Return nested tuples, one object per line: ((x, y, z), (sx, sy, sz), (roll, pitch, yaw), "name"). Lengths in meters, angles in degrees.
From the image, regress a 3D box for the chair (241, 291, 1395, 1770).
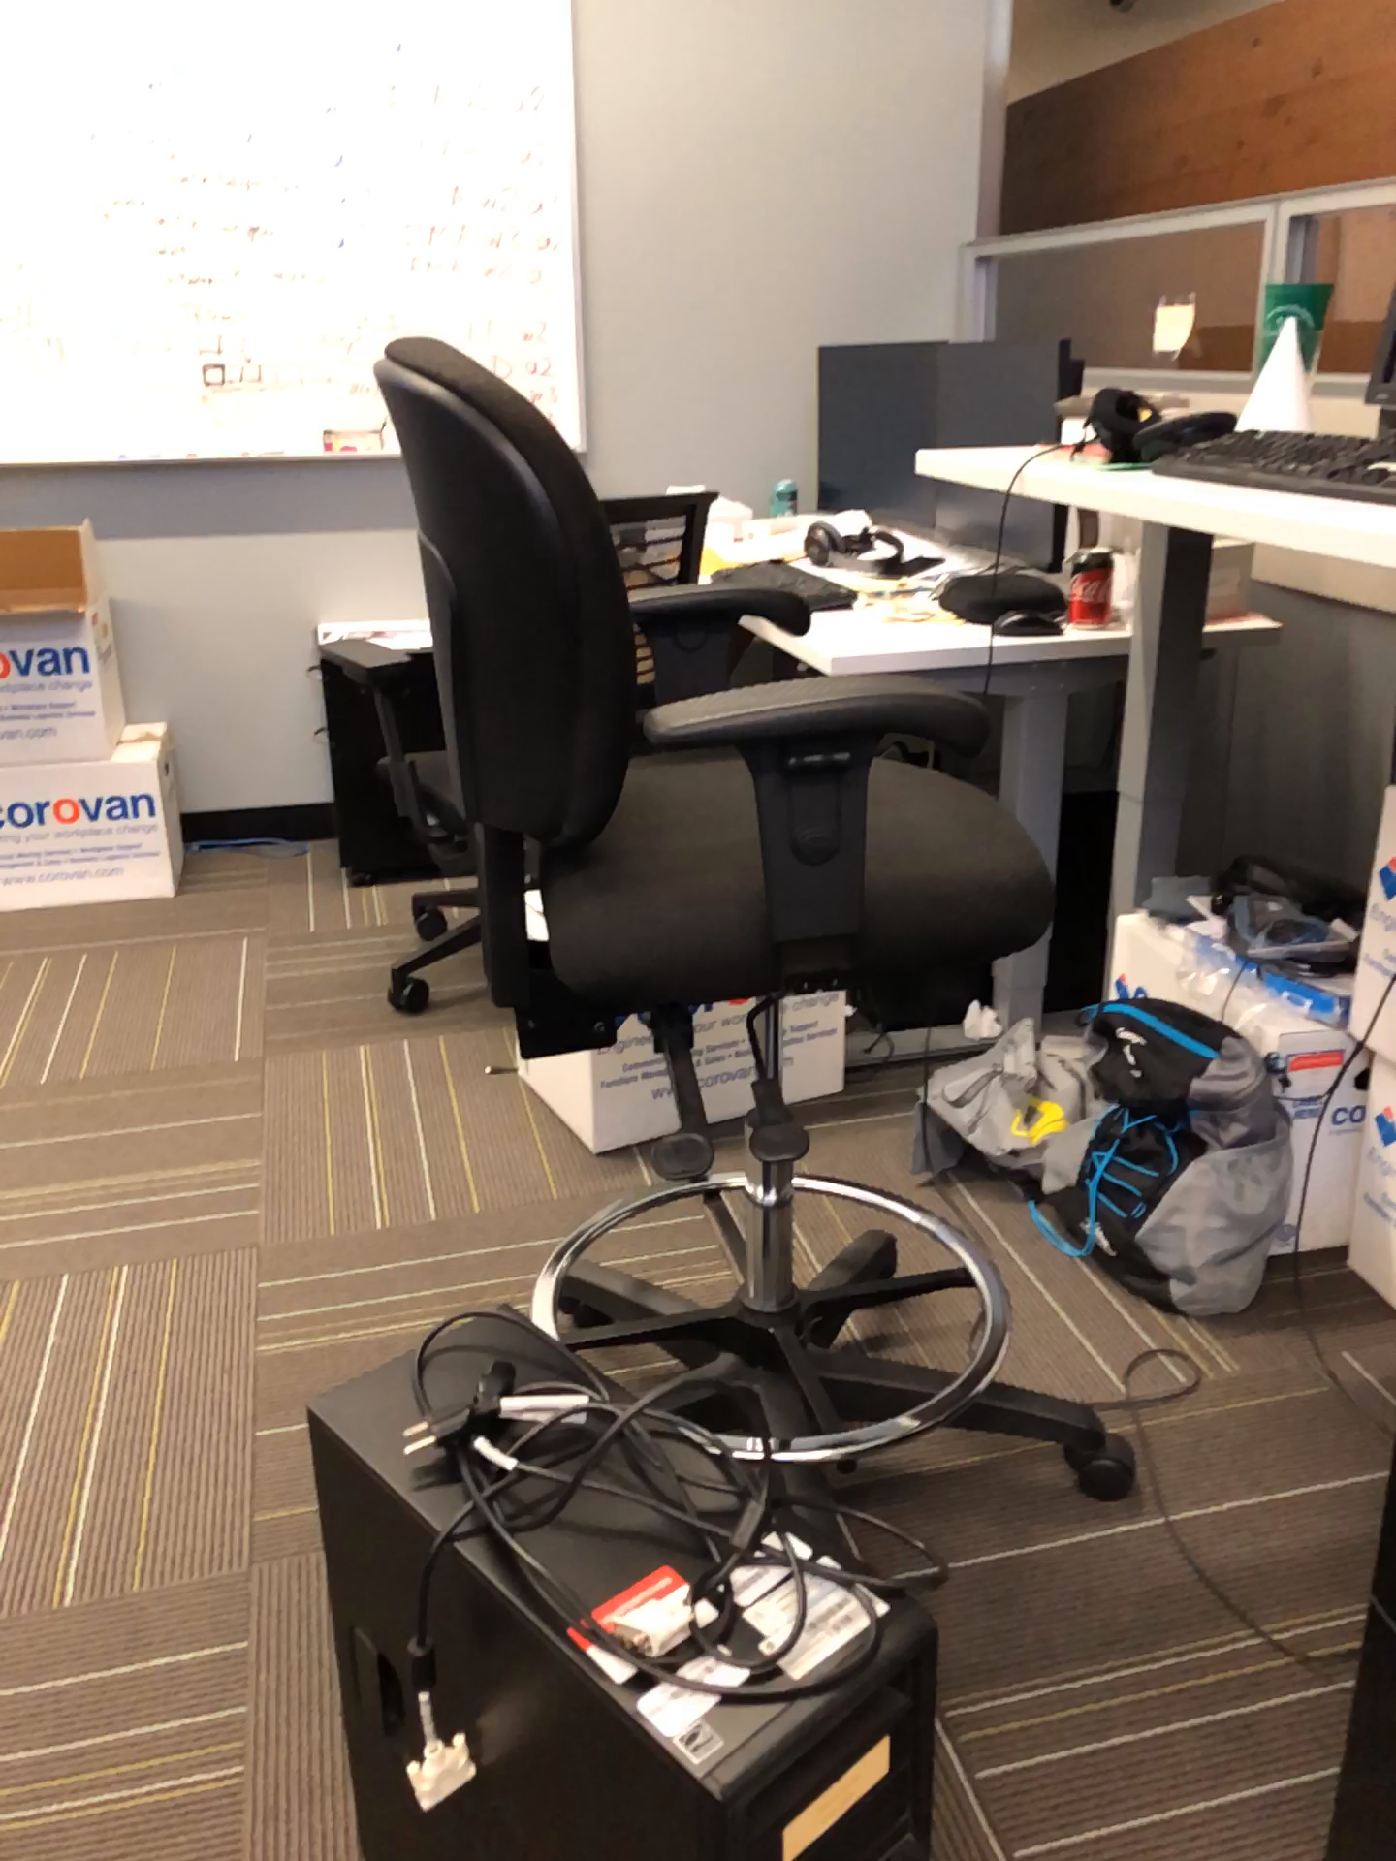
((0.052, 0.031, 1.431), (0.730, 1.135, 0.643), (-4, 21, -9), "chair")
